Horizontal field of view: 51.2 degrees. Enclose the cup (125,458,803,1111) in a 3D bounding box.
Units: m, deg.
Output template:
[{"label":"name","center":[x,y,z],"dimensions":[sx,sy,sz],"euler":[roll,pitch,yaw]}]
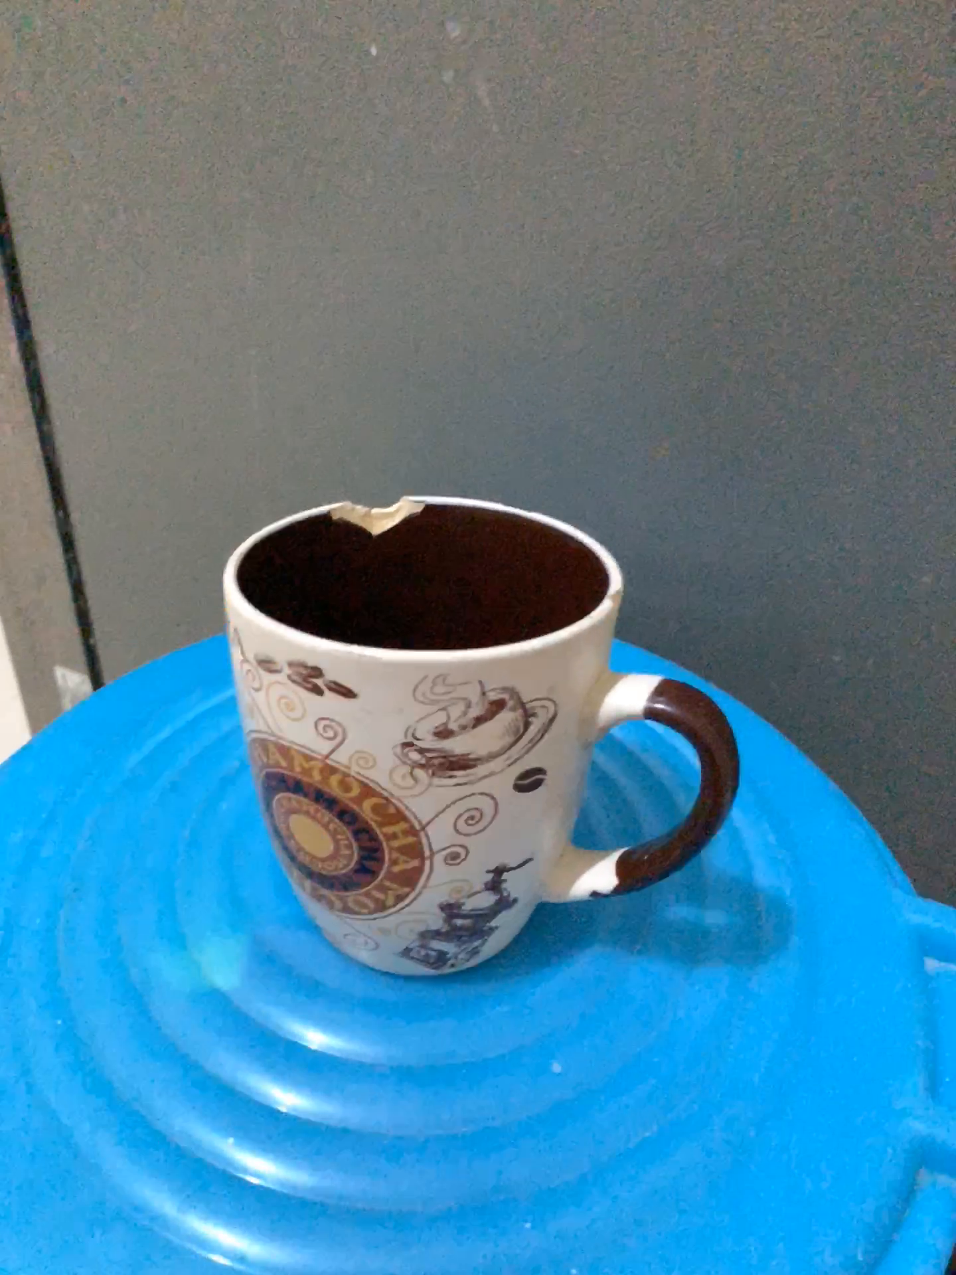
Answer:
[{"label":"cup","center":[-0.002,0.020,0.218],"dimensions":[0.110,0.079,0.080],"euler":[17,32,25]}]
